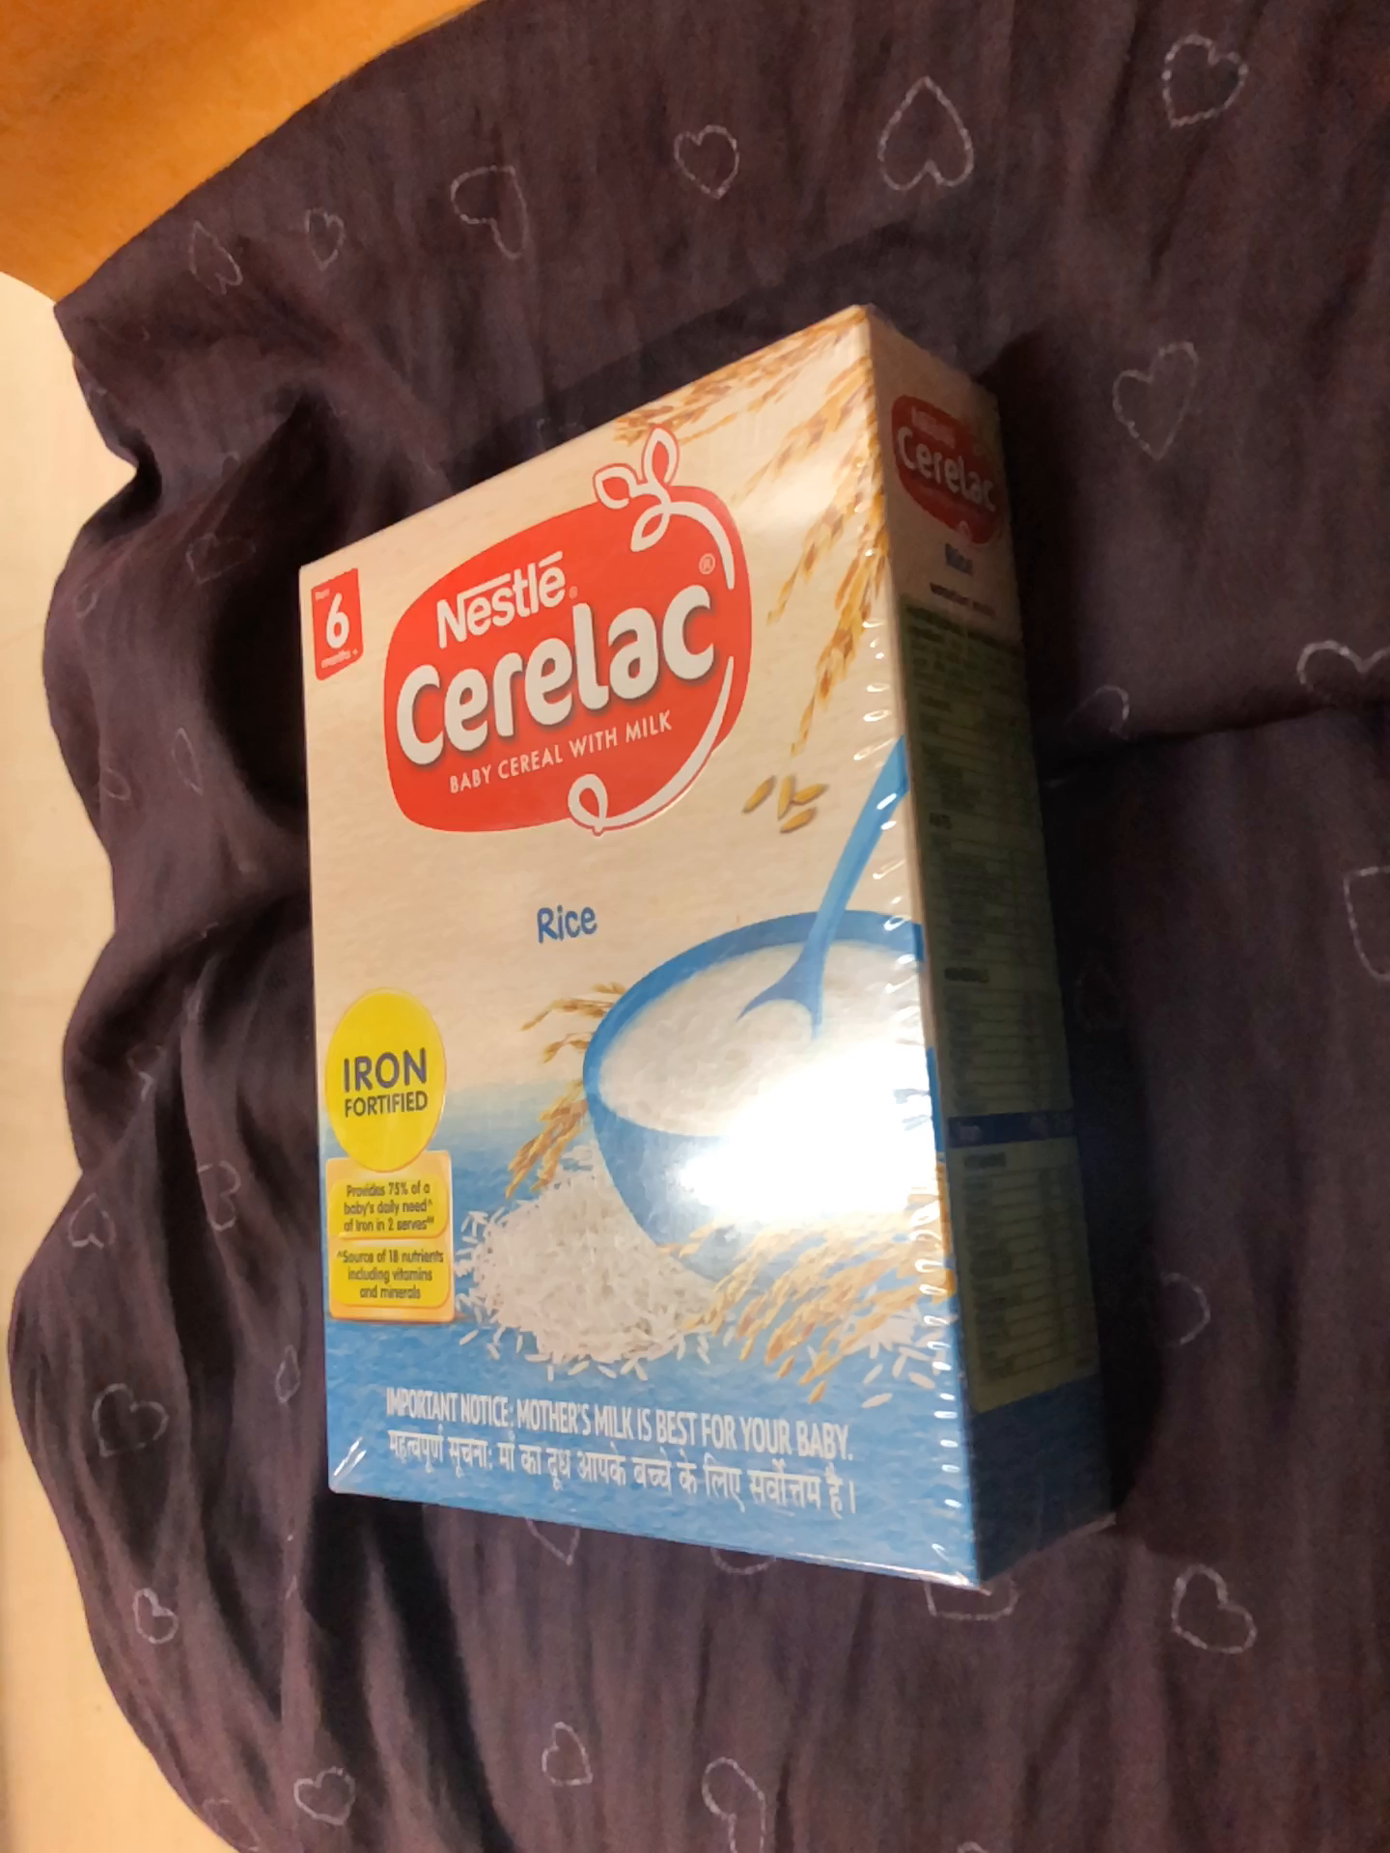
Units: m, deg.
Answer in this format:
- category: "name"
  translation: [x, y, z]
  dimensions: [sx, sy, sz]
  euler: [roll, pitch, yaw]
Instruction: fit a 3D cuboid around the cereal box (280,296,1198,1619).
- category: "cereal box"
  translation: [-0.002, 0.012, 0.308]
  dimensions: [0.161, 0.070, 0.200]
  euler: [-10, 80, 39]
